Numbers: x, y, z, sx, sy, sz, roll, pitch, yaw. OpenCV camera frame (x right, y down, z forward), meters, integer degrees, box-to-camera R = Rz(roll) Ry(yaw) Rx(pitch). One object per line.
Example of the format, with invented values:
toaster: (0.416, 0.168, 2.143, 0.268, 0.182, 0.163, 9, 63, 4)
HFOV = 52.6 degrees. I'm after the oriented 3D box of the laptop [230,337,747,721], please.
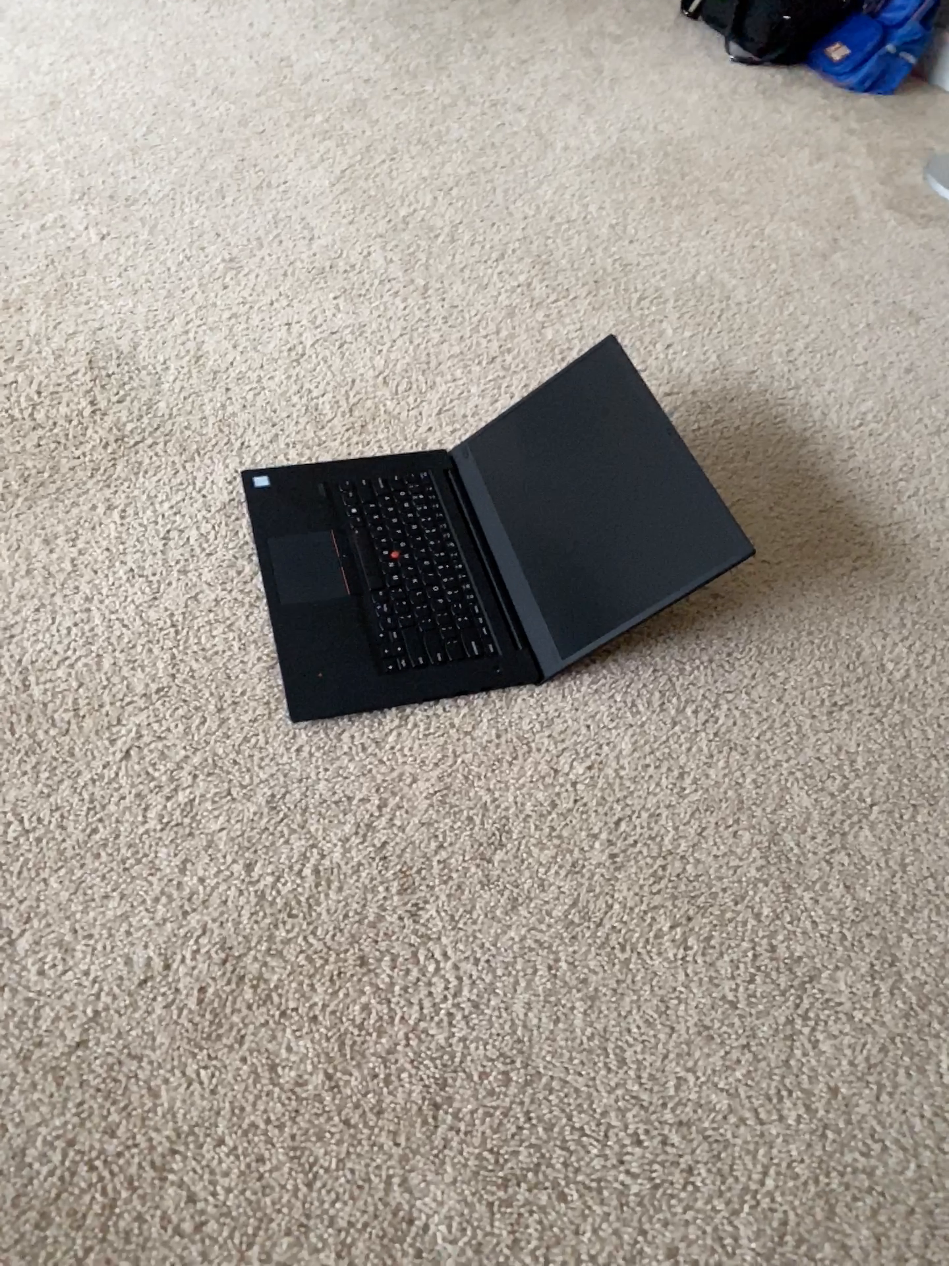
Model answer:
laptop: (-0.008, -0.131, 1.005, 0.432, 0.141, 0.361, -9, 51, -14)
